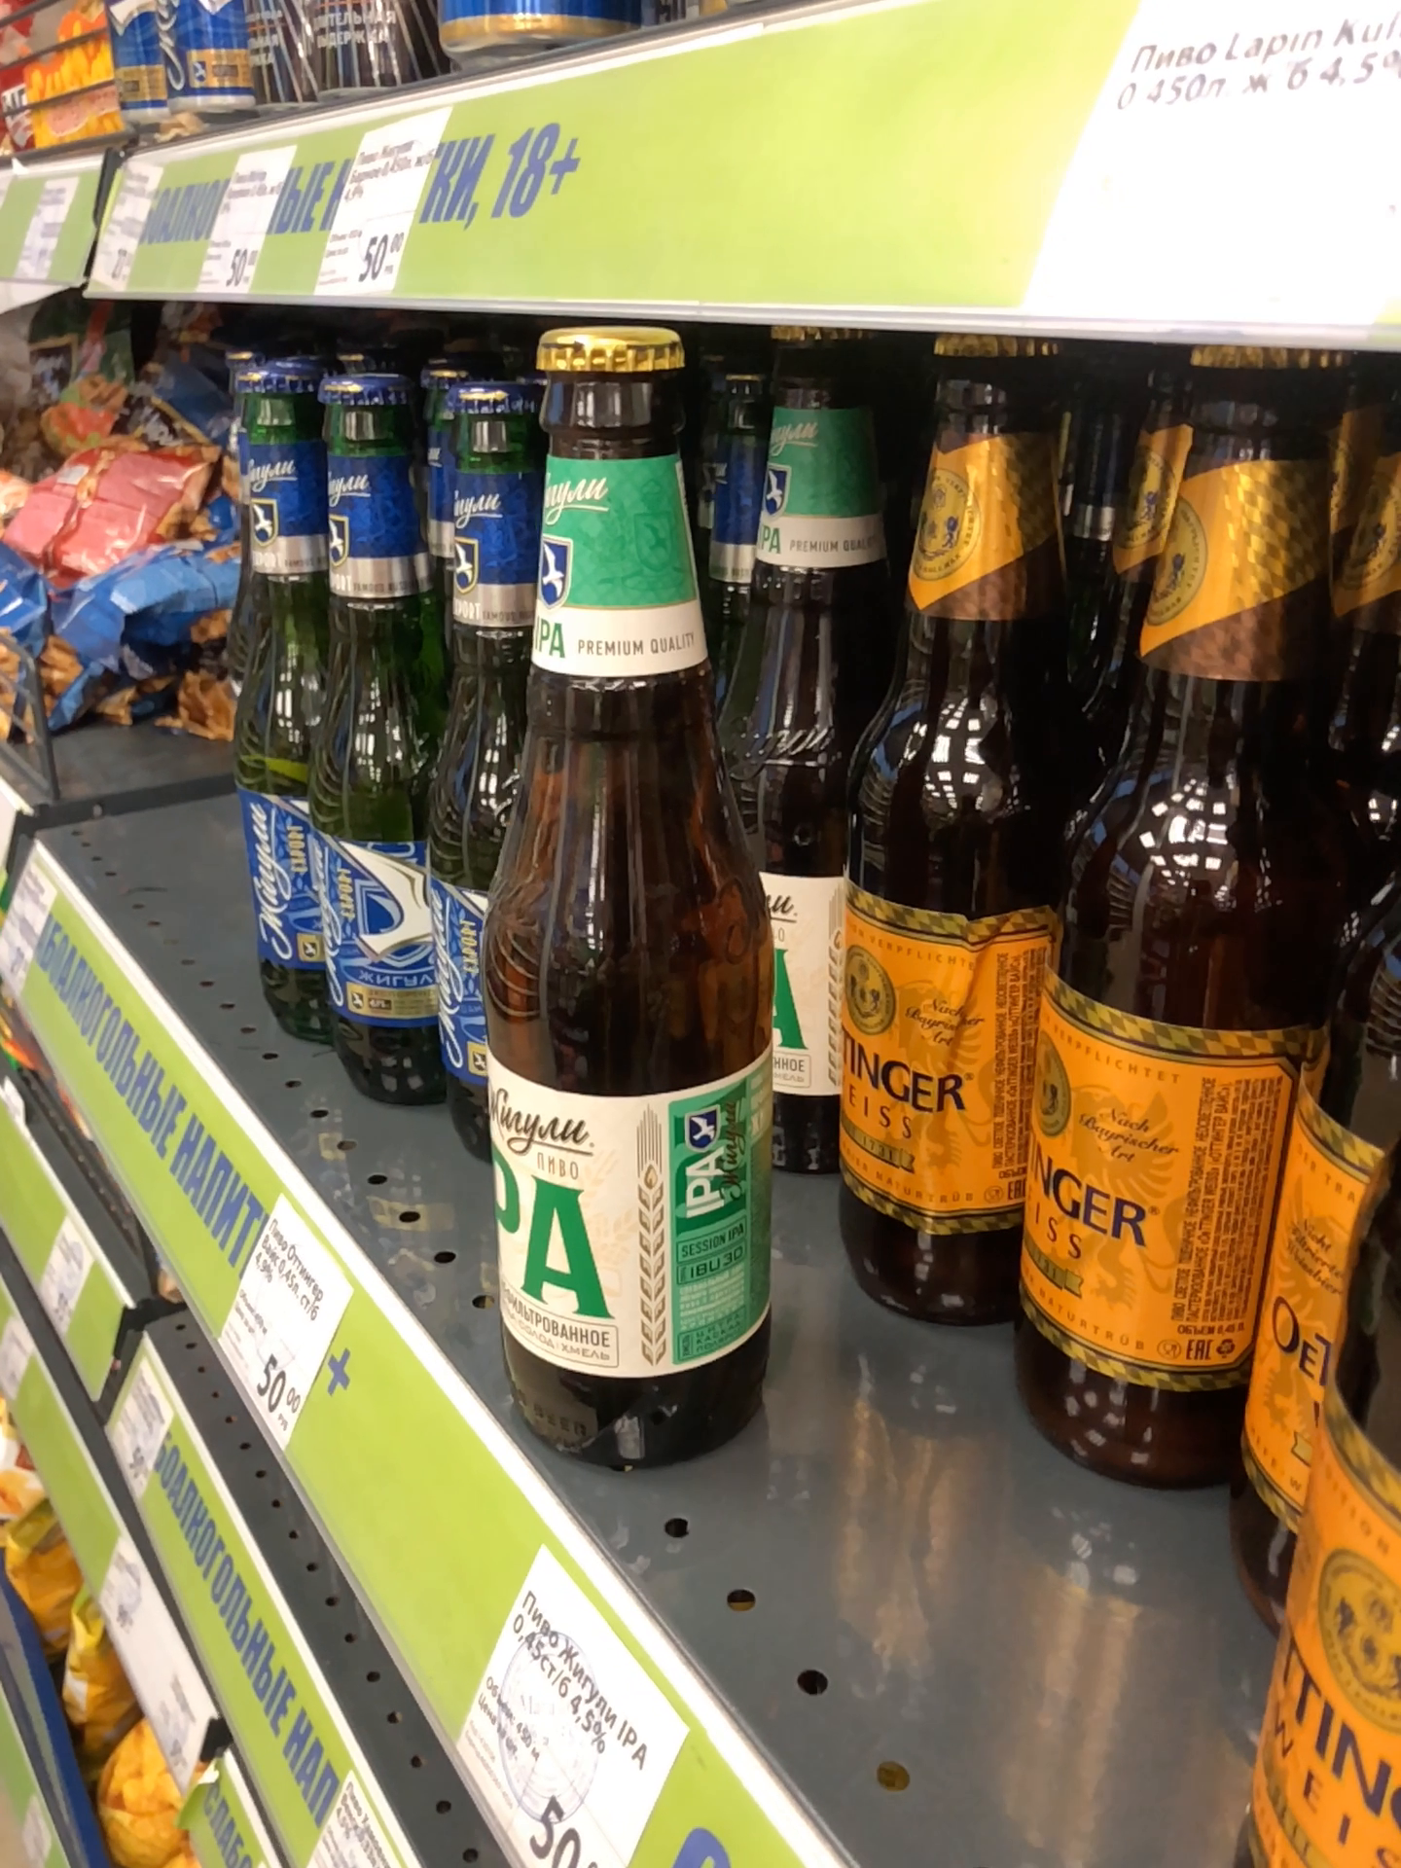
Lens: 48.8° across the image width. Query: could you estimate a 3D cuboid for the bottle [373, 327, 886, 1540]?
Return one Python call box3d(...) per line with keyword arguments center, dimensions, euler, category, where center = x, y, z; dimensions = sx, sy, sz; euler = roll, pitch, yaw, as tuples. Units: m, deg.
box3d(center=(-0.013, 0.001, 0.356), dimensions=(0.070, 0.258, 0.080), euler=(-16, 27, -30), category="bottle")
